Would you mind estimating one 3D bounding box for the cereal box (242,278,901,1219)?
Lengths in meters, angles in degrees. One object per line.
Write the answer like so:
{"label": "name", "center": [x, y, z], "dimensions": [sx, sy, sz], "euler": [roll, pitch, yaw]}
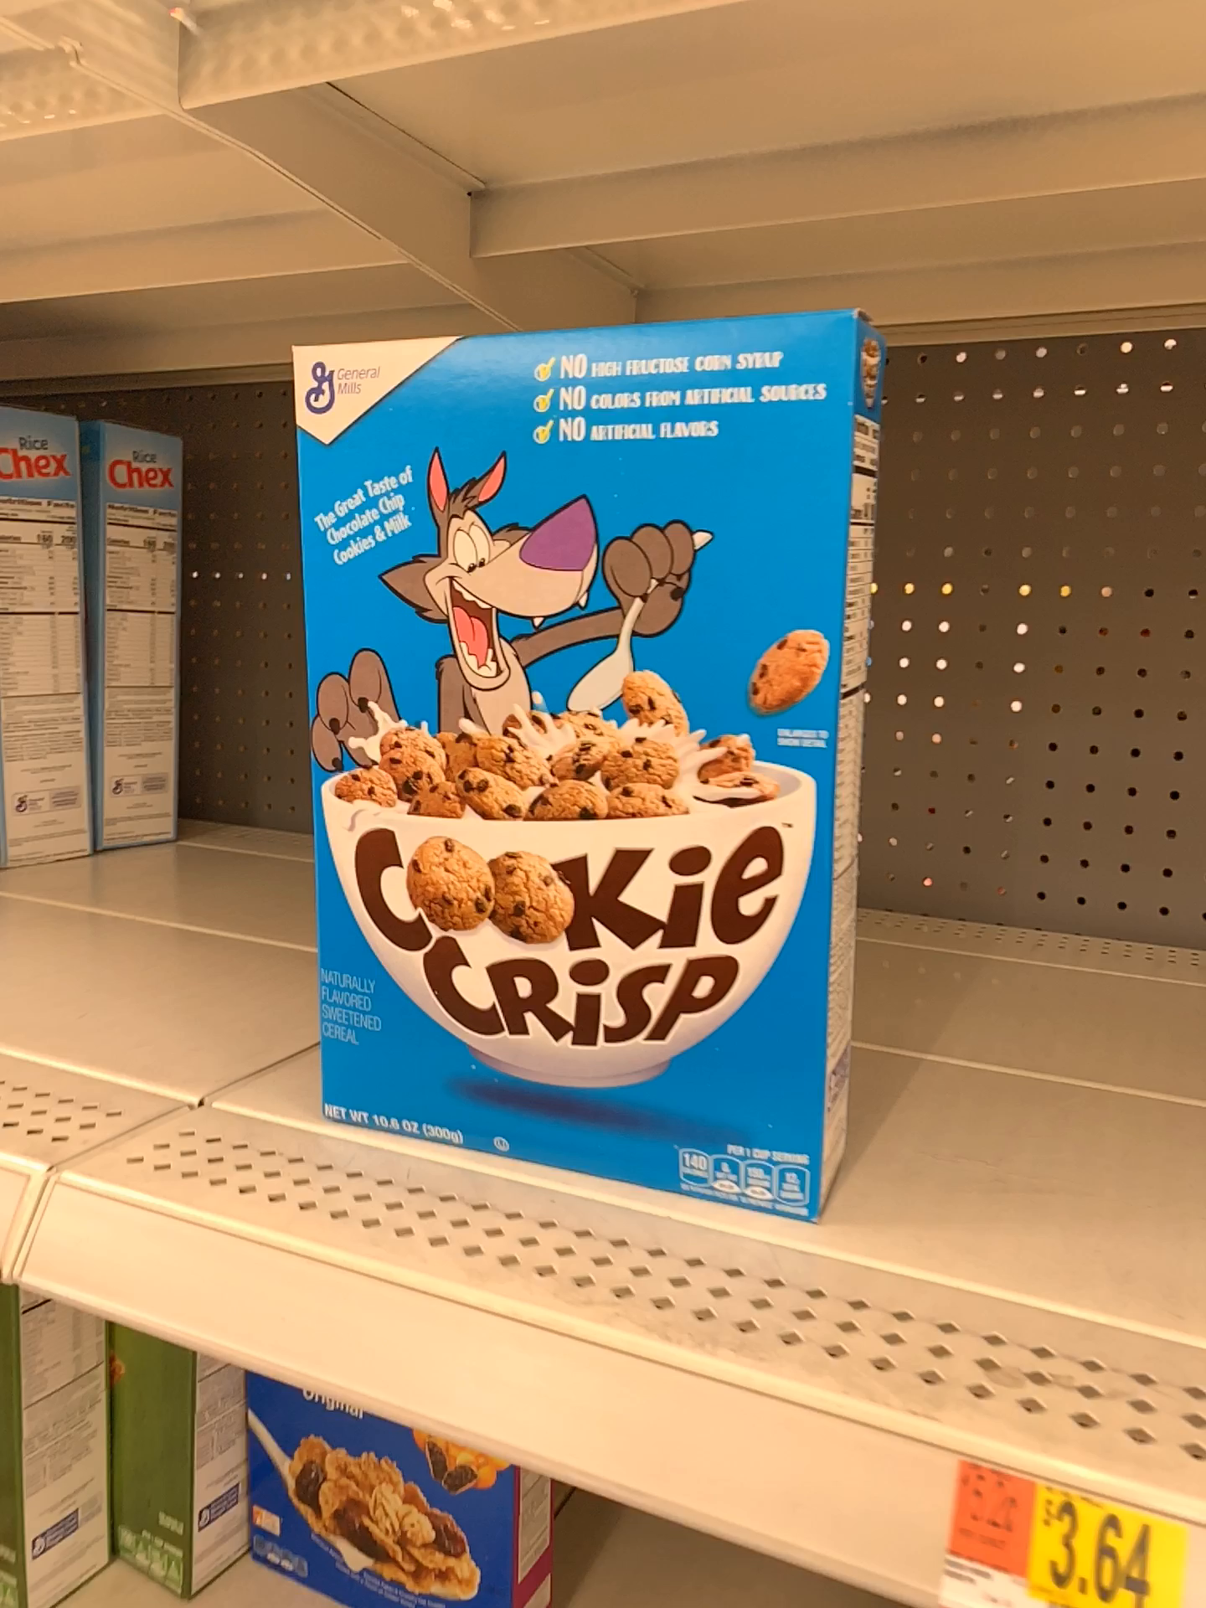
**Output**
{"label": "cereal box", "center": [-0.015, -0.020, 0.426], "dimensions": [0.210, 0.279, 0.050], "euler": [5, 12, 22]}
